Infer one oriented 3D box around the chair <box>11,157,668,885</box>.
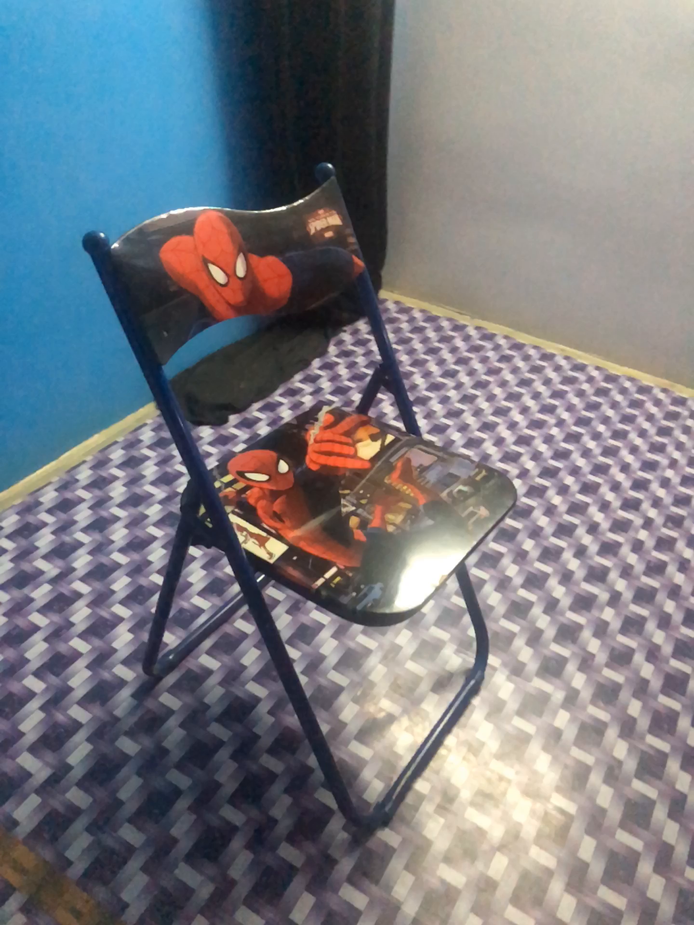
[{"bbox_3d":[-0.008,0.033,1.057,0.560,0.686,0.513,24,38,24],"label":"chair"}]
